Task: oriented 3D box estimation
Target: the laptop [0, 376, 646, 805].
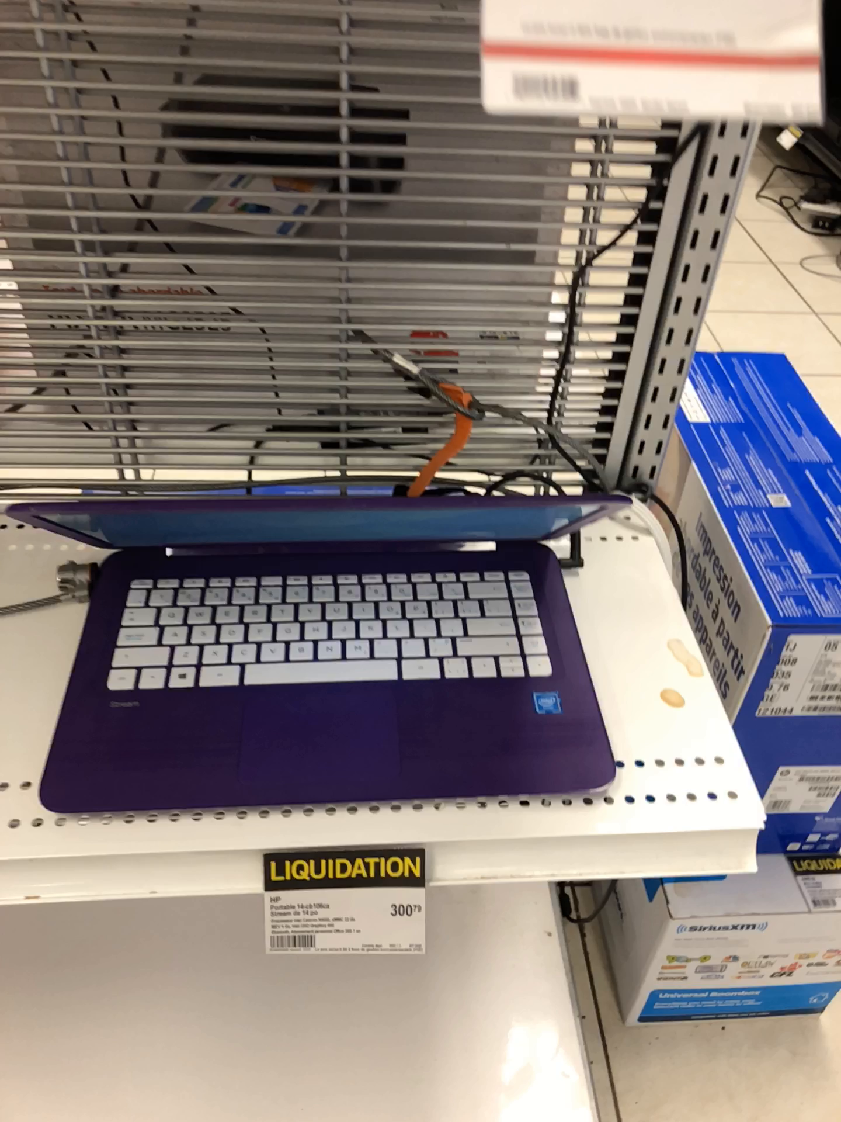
[{"bbox_3d":[-0.051,0.008,0.556,0.305,0.138,0.207,-1,43,-4],"label":"laptop"}]
